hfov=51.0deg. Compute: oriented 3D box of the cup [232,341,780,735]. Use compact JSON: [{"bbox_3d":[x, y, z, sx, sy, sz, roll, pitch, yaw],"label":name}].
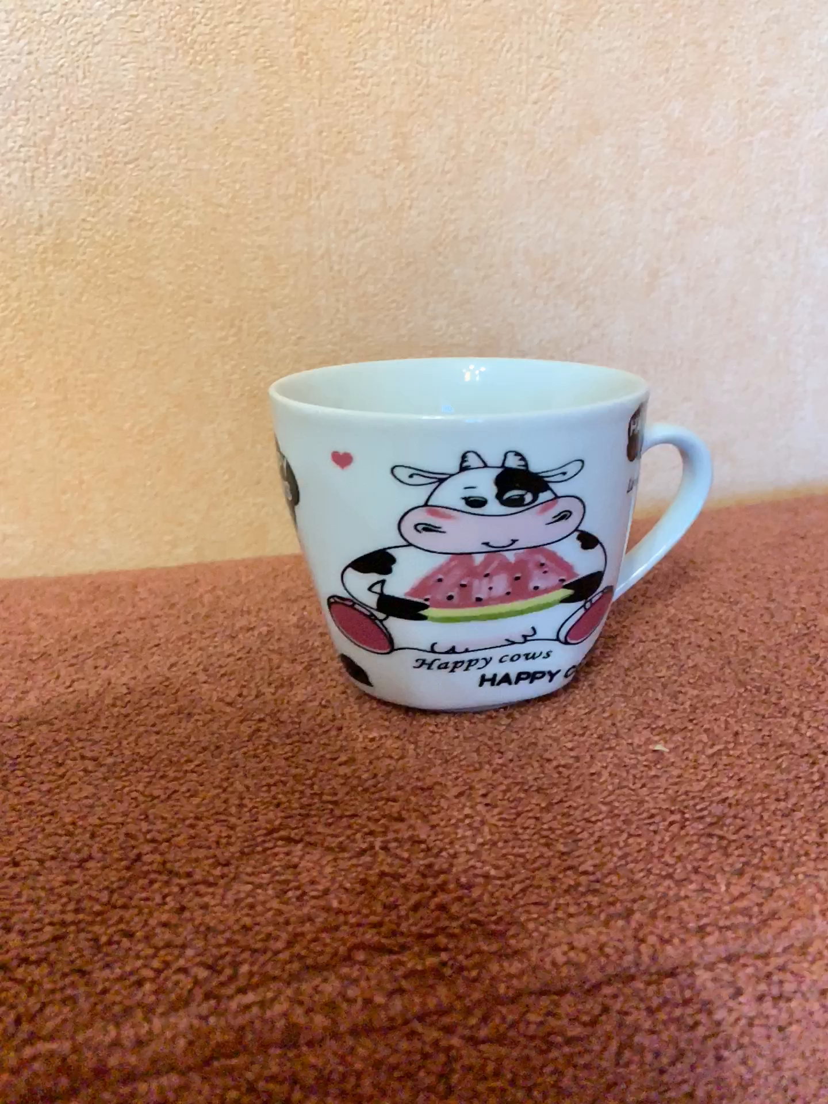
[{"bbox_3d":[0.013,-0.010,0.193,0.094,0.056,0.079,-5,22,-6],"label":"cup"}]
